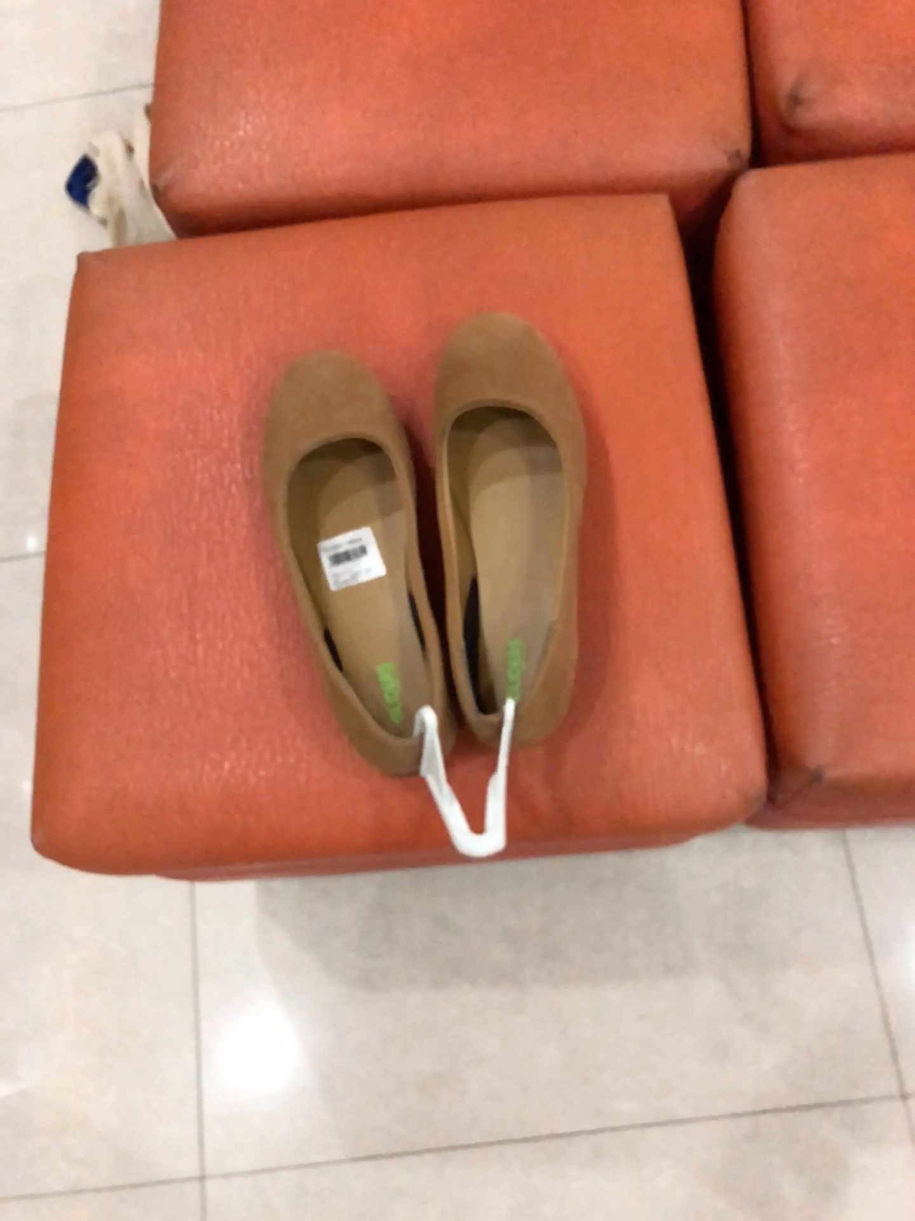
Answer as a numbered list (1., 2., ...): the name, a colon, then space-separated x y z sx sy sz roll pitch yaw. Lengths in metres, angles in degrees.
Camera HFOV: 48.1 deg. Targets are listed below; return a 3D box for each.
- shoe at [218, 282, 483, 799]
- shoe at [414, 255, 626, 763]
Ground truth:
1. shoe: -0.065 -0.044 0.610 0.094 0.071 0.286 -14 72 2
2. shoe: 0.033 -0.062 0.607 0.097 0.071 0.286 -4 72 3
